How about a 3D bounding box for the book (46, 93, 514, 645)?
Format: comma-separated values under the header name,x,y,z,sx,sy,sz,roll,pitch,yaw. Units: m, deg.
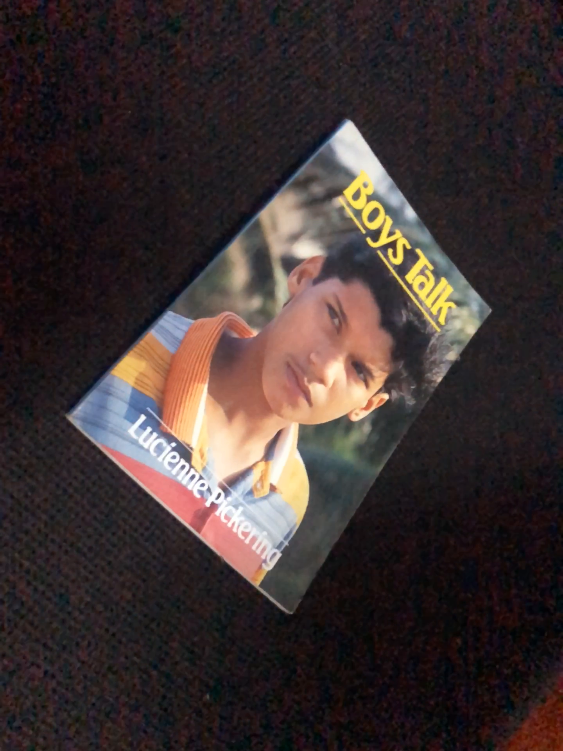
name,x,y,z,sx,sy,sz,roll,pitch,yaw
book,0.021,-0.008,0.262,0.130,0.010,0.191,48,65,-21
